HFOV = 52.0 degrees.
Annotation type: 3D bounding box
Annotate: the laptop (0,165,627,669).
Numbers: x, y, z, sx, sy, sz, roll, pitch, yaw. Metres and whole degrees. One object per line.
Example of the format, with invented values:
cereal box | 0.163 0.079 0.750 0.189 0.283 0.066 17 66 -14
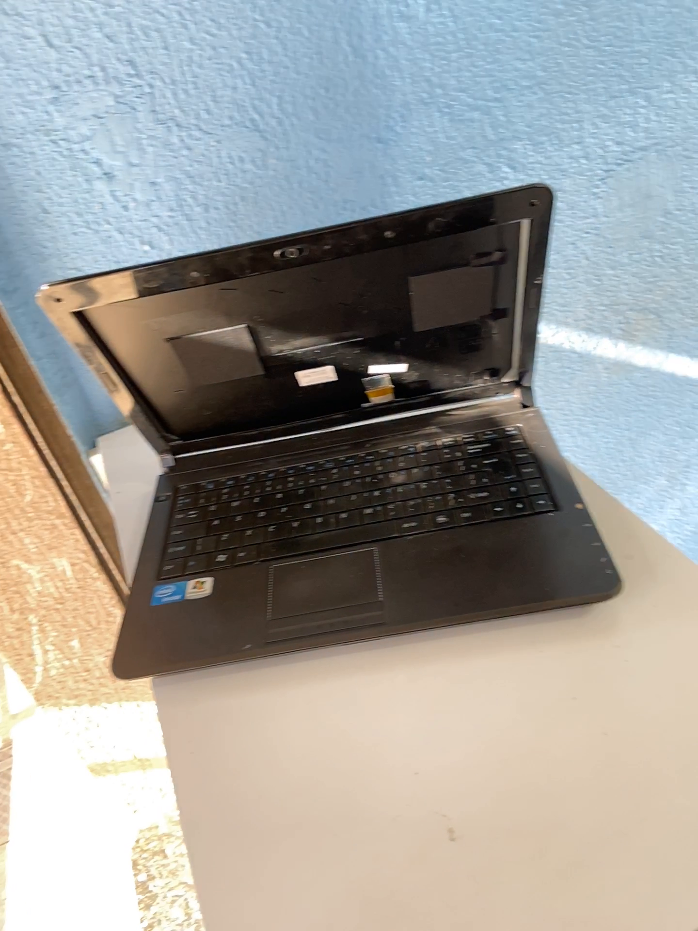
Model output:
laptop | -0.016 -0.036 0.492 0.330 0.206 0.207 -10 37 4
